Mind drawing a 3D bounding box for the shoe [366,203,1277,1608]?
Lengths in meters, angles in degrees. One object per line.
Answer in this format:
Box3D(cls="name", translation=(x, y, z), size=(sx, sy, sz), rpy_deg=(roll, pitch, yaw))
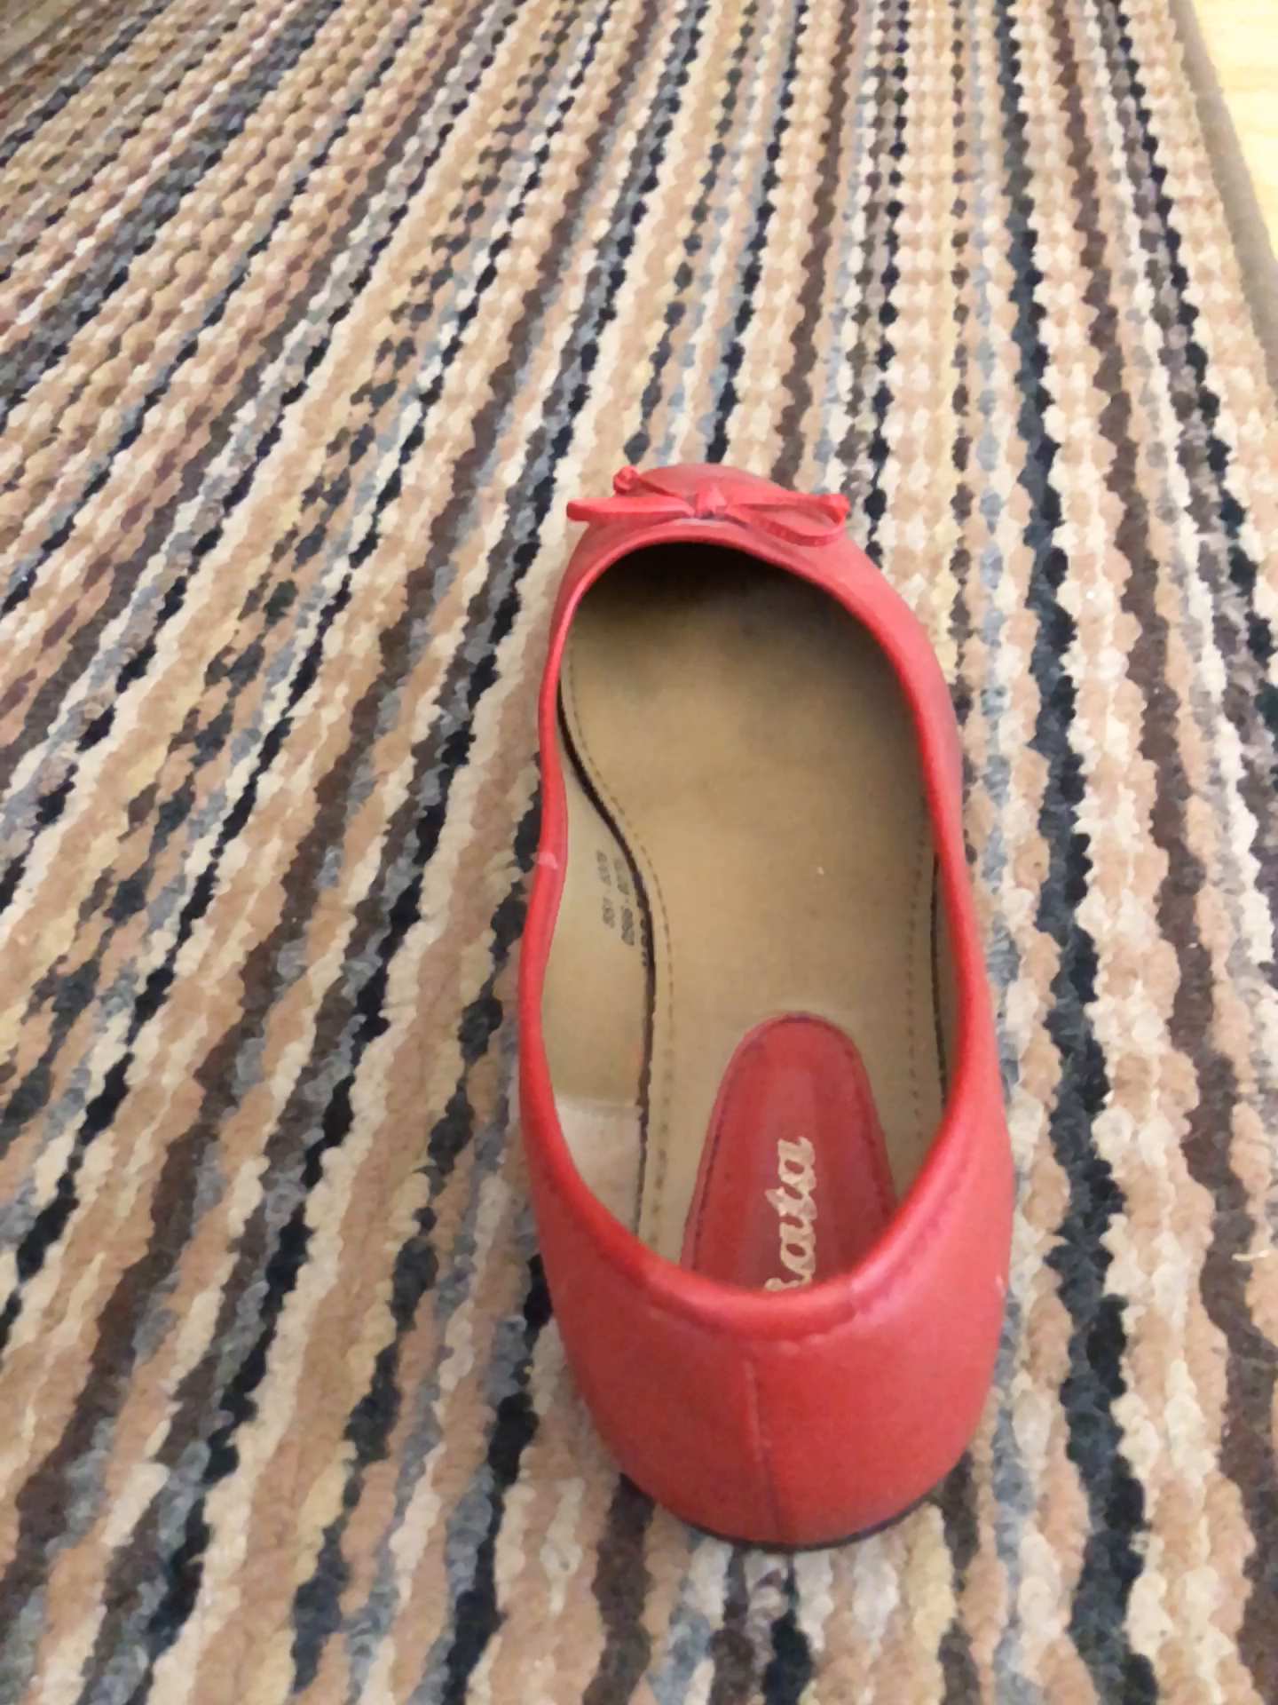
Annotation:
Box3D(cls="shoe", translation=(0.024, -0.013, 0.286), size=(0.100, 0.110, 0.270), rpy_deg=(-3, 48, 3))
